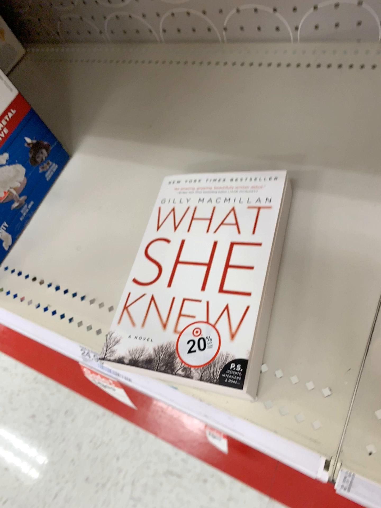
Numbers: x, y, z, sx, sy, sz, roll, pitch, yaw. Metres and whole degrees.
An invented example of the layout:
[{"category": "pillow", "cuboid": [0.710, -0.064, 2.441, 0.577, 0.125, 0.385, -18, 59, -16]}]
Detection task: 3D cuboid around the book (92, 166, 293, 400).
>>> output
[{"category": "book", "cuboid": [0.010, 0.013, 0.359, 0.130, 0.041, 0.197, 4, 61, 26]}]
